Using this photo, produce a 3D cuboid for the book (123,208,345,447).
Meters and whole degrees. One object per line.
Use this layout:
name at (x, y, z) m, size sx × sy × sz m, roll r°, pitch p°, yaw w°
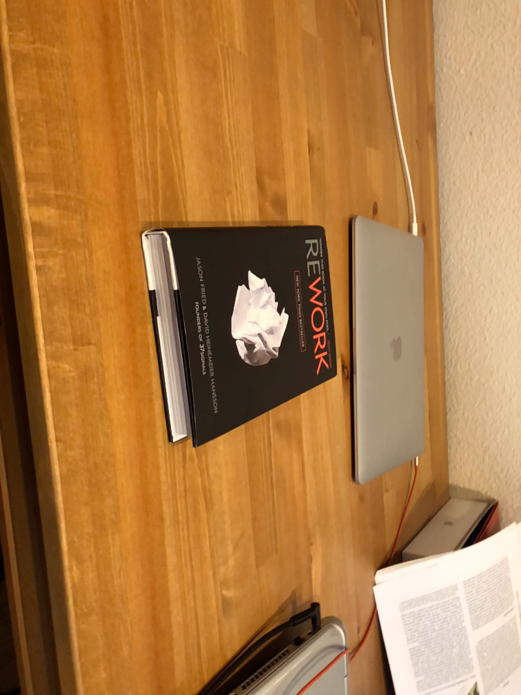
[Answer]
book at (-0.004, -0.033, 0.487) m, size 0.231 × 0.040 × 0.160 m, roll -20°, pitch 106°, yaw -54°
